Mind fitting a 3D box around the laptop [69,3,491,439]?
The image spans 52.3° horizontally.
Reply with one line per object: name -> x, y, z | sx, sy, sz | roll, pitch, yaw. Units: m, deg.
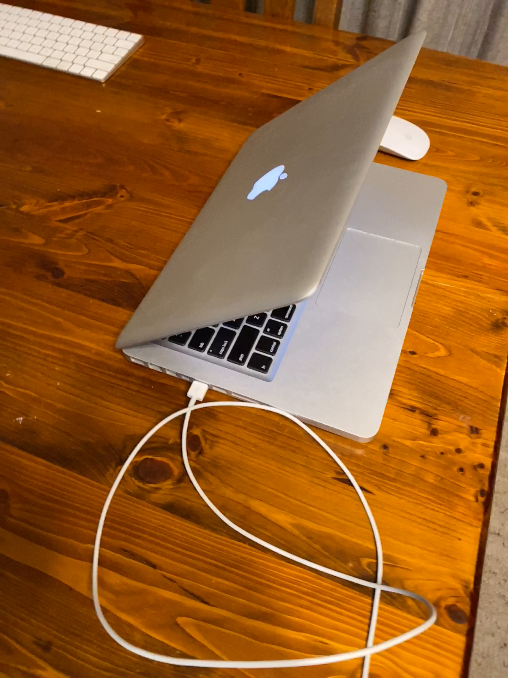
laptop -> 0.044, -0.117, 0.431 | 0.211, 0.136, 0.312 | 19, 58, 11
